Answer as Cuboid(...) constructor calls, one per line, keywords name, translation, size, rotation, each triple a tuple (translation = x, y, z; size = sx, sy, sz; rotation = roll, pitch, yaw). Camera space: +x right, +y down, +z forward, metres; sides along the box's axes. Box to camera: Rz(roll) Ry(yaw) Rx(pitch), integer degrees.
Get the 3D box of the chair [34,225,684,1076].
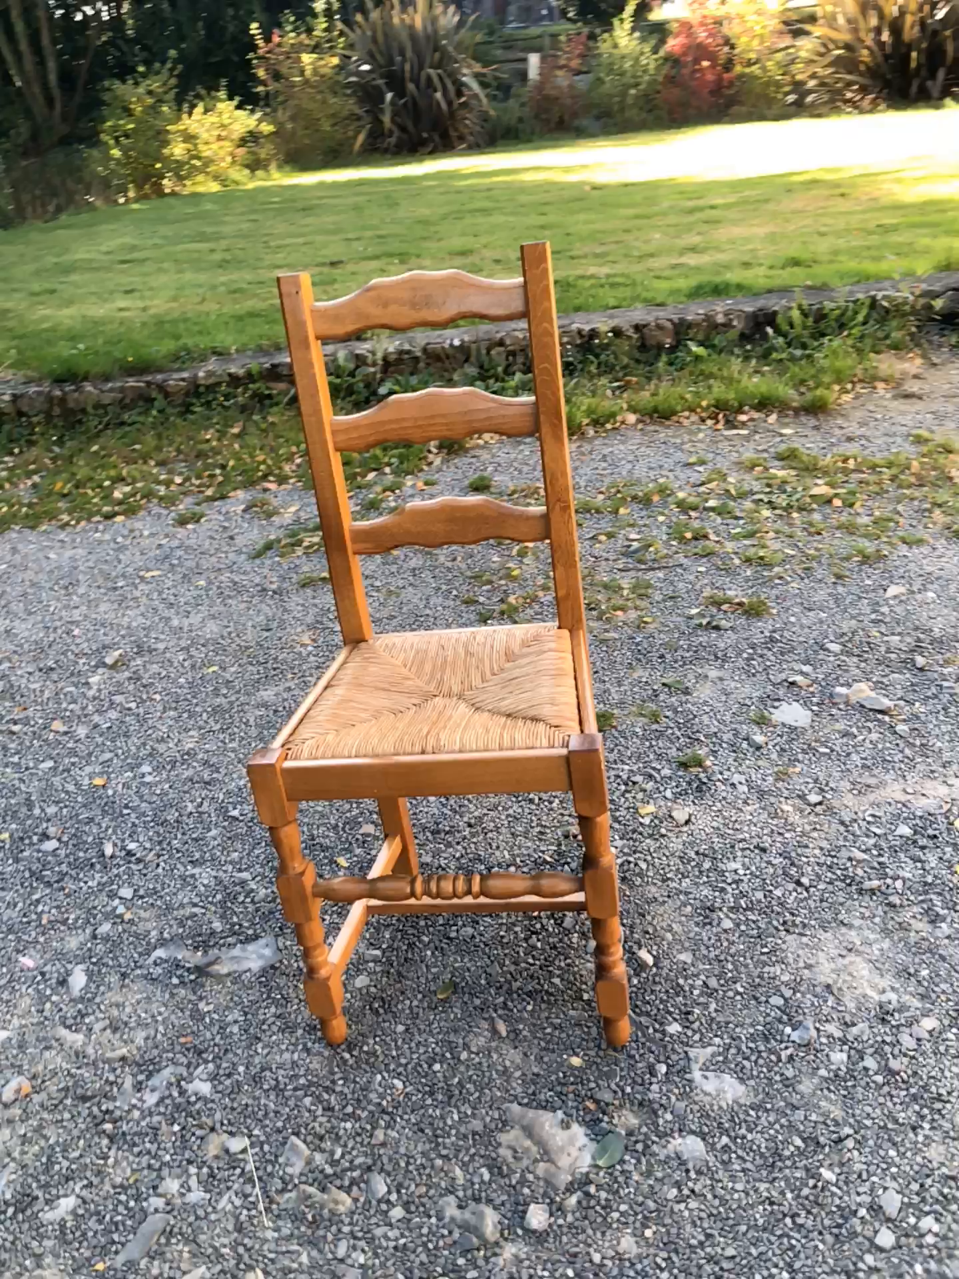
Cuboid(name="chair", translation=(-0.049, 0.010, 1.305), size=(0.530, 0.886, 0.523), rotation=(-4, 25, 9))
